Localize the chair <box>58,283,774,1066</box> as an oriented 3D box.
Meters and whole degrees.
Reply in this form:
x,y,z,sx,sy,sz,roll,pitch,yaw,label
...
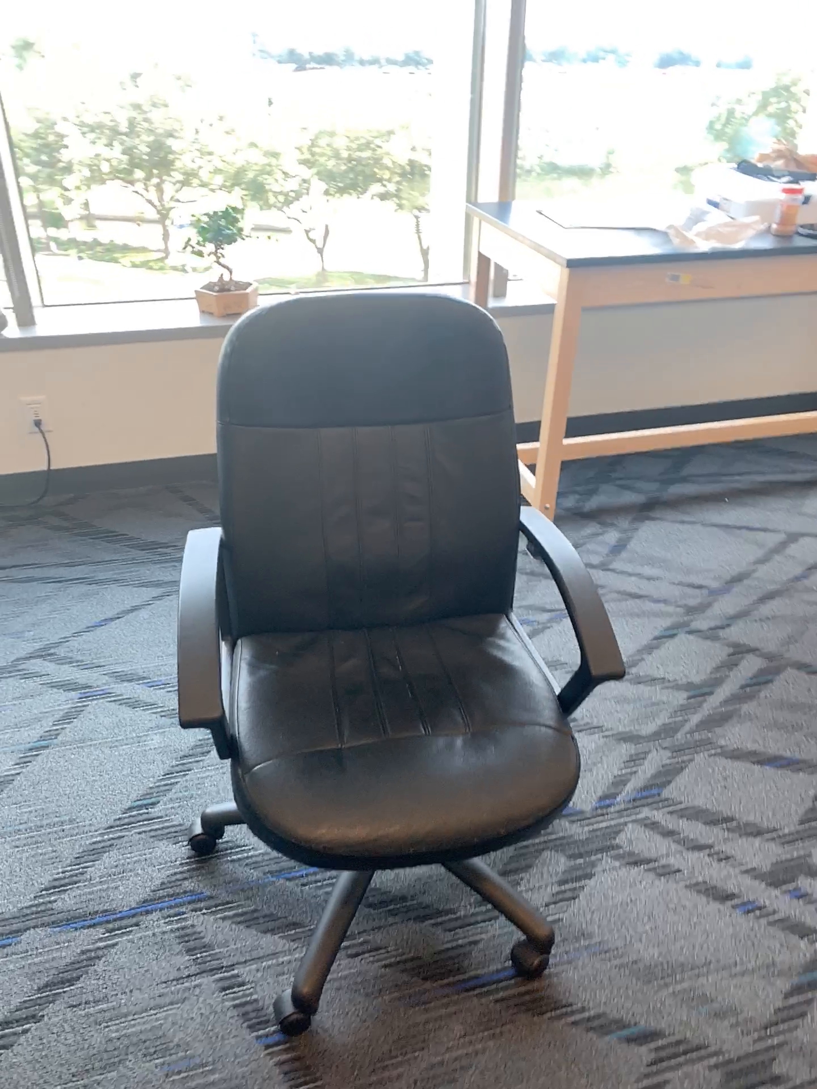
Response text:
x,y,z,sx,sy,sz,roll,pitch,yaw,label
-0.042,0.141,1.310,0.700,0.892,0.696,-6,31,-11,chair
